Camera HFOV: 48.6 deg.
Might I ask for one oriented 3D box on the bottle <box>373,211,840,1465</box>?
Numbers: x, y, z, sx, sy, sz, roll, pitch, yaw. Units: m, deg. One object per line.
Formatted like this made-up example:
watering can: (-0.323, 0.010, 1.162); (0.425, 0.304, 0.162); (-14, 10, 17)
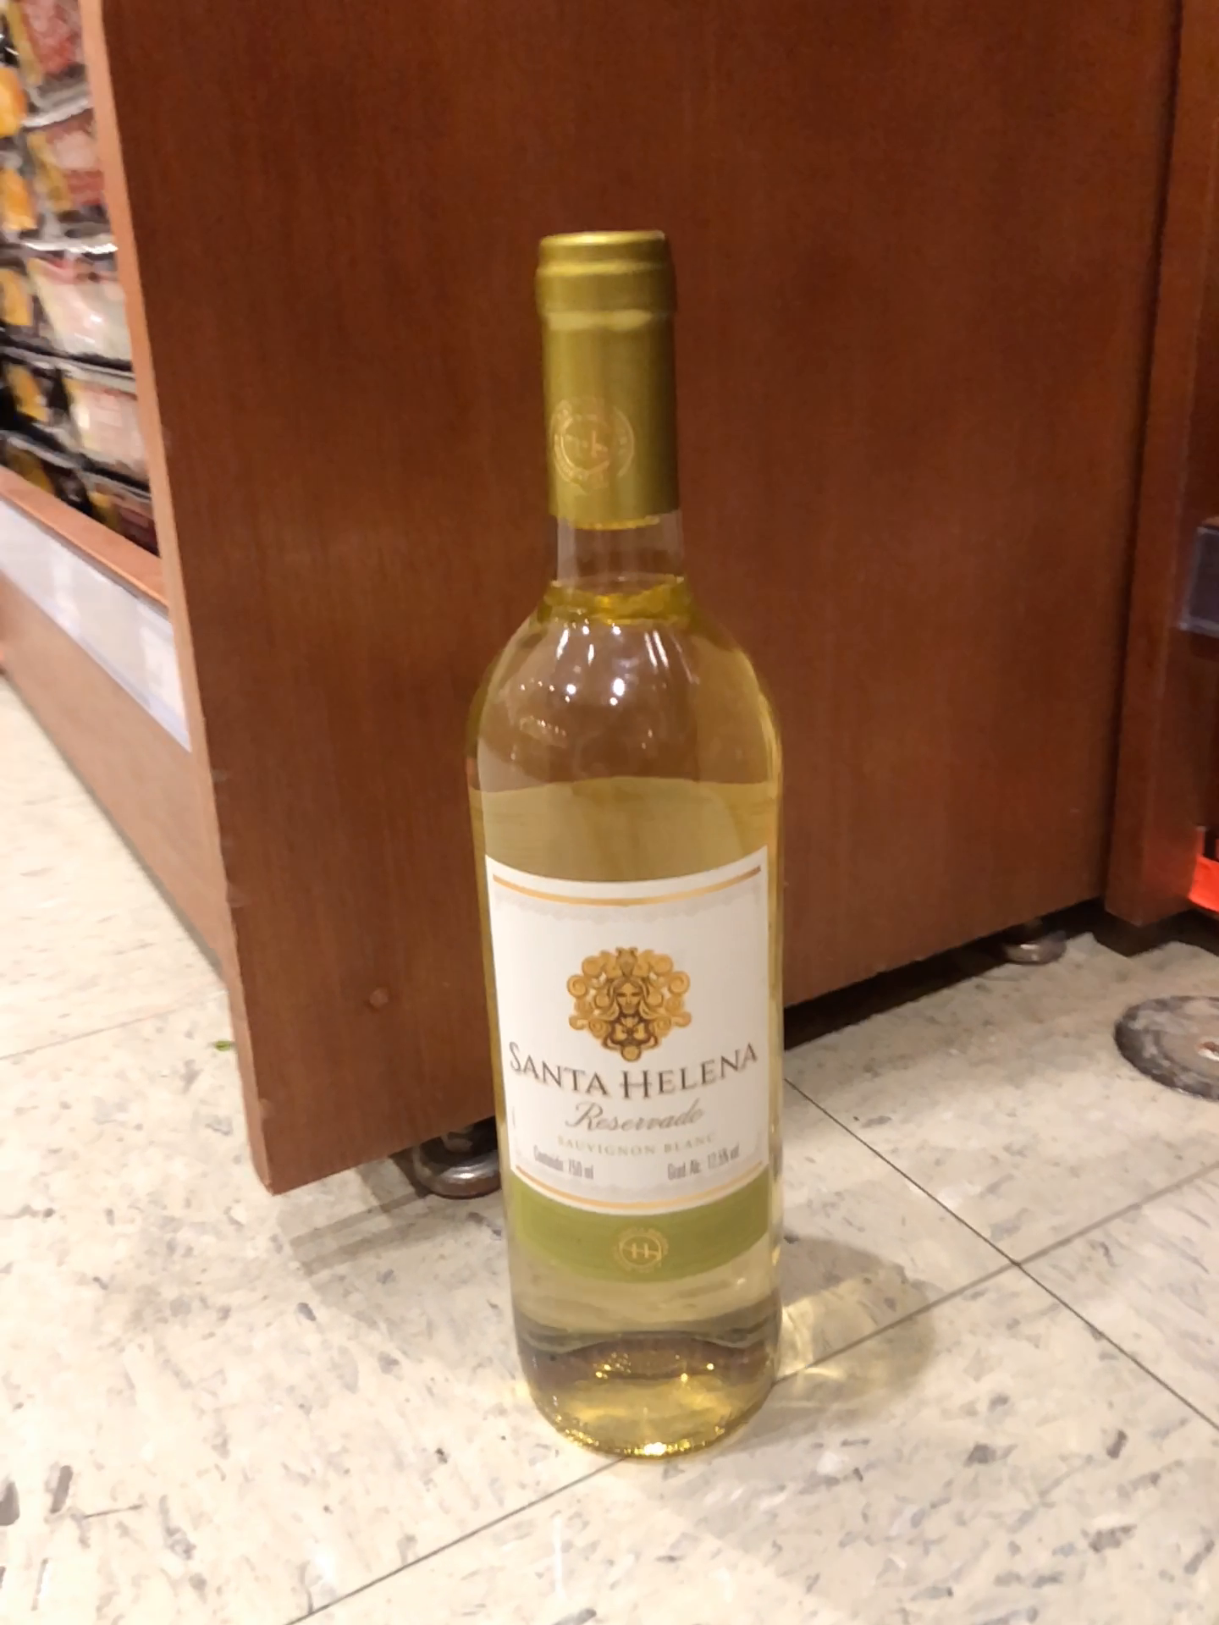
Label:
bottle: (0.008, 0.016, 0.312); (0.080, 0.278, 0.070); (-1, 21, 5)
